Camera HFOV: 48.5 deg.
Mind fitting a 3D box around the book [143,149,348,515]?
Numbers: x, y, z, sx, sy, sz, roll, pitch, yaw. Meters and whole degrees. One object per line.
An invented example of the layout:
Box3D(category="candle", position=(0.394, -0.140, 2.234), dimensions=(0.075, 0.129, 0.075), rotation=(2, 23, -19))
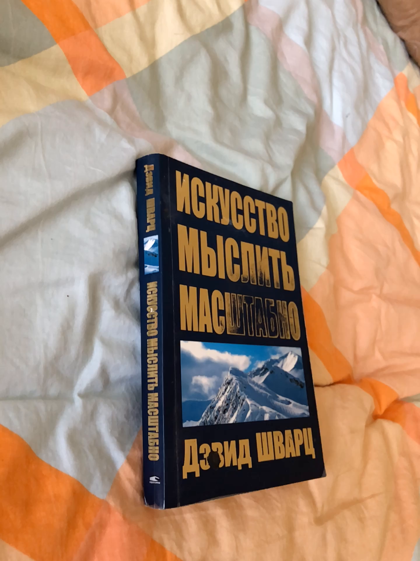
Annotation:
Box3D(category="book", position=(0.022, 0.028, 0.288), dimensions=(0.127, 0.028, 0.189), rotation=(10, 69, -39))
